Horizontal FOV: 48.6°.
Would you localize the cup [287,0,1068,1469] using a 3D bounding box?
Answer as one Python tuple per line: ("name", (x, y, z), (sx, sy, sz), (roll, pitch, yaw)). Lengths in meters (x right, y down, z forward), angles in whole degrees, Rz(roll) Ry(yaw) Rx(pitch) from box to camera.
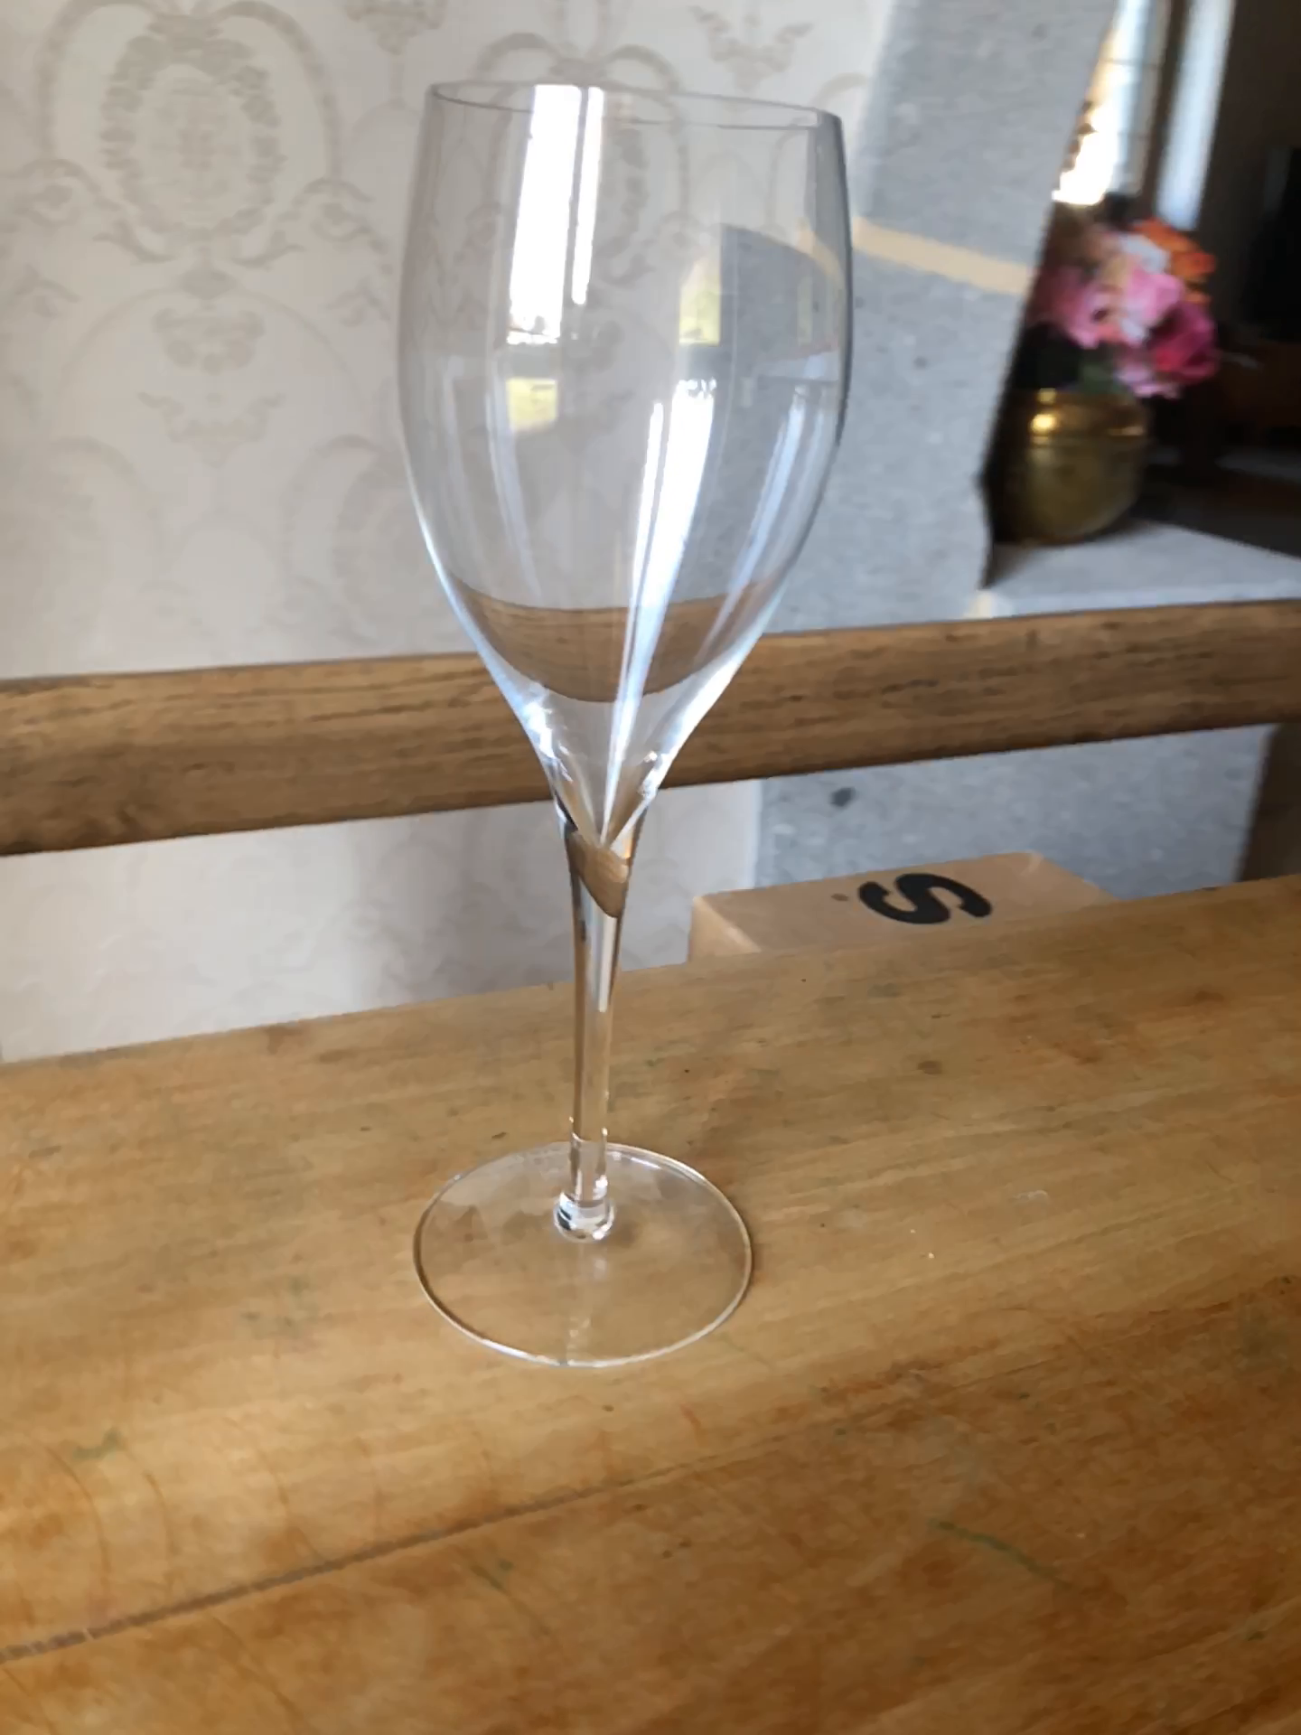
("cup", (0.000, -0.020, 0.248), (0.080, 0.209, 0.080), (2, 23, -1))
